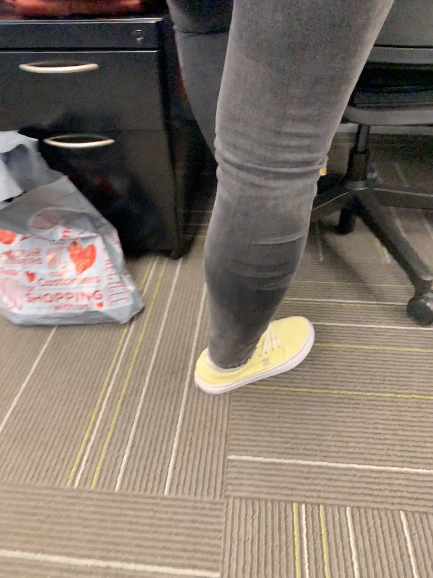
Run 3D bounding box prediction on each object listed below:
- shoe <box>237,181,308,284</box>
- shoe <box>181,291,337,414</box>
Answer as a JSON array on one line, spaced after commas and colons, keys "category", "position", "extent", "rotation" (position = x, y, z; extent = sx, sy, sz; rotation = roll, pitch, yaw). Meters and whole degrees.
[{"category": "shoe", "position": [0.113, -0.134, 0.976], "extent": [0.098, 0.096, 0.261], "rotation": [-5, 39, -4]}, {"category": "shoe", "position": [0.080, 0.112, 0.834], "extent": [0.268, 0.101, 0.103], "rotation": [-19, 42, -20]}]
